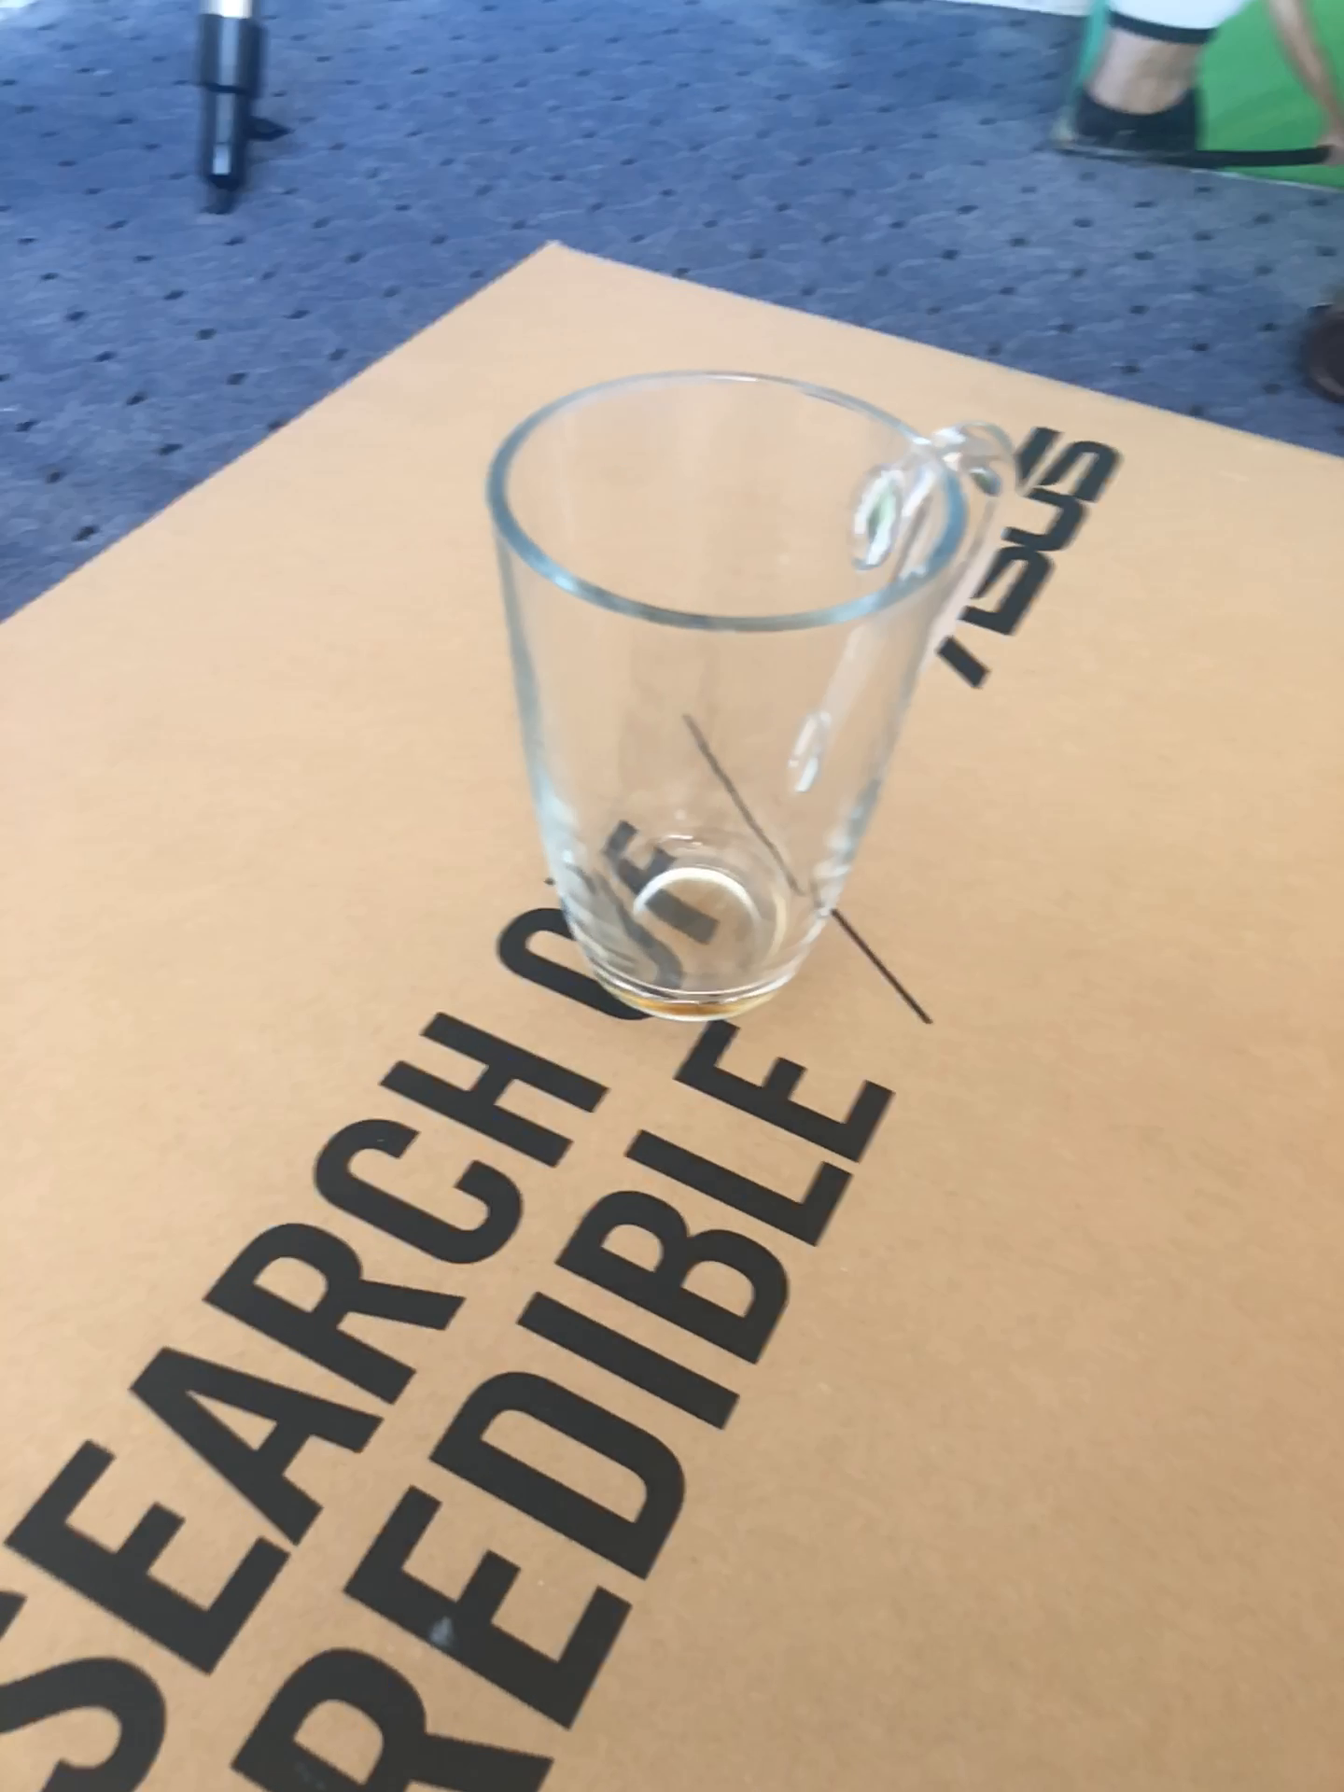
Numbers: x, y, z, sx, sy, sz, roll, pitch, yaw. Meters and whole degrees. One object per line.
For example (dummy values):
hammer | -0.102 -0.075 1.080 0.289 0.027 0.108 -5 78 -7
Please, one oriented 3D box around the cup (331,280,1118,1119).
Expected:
cup | 0.011 -0.041 0.275 0.080 0.090 0.110 28 50 24
